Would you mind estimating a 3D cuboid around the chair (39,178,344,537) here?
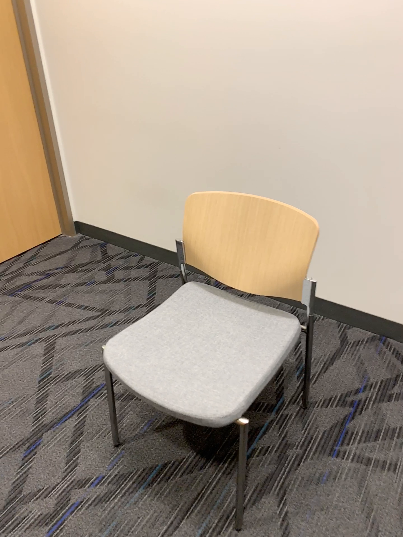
[{"bbox_3d":[0.006,0.198,1.201,0.555,0.704,0.538,17,36,30],"label":"chair"}]
